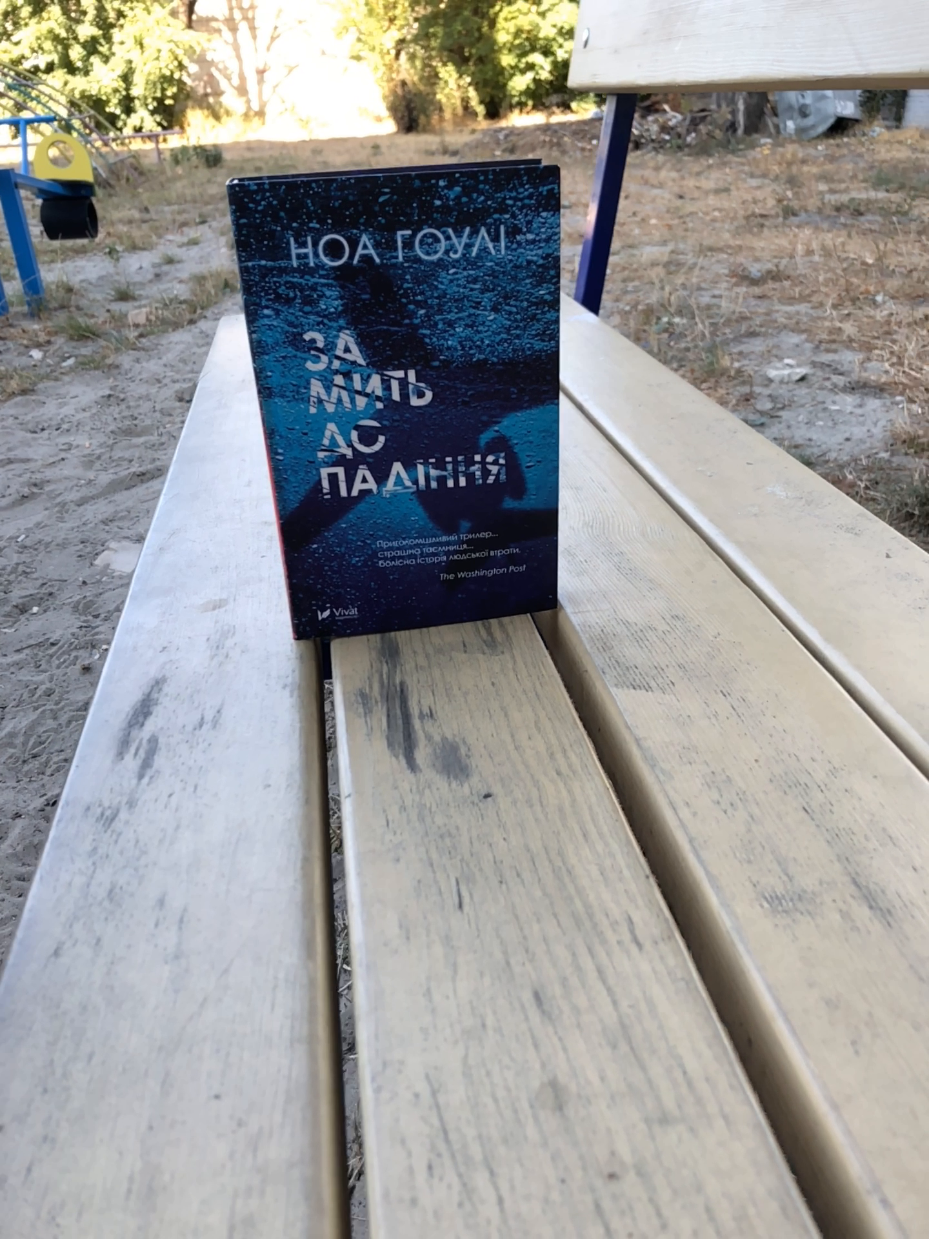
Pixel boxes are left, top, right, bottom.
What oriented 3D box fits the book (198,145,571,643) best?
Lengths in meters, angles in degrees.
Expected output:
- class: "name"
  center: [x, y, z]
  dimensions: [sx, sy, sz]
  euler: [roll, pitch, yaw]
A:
- class: "book"
  center: [-0.027, -0.094, 0.449]
  dimensions: [0.140, 0.199, 0.040]
  euler: [-7, 29, -6]
